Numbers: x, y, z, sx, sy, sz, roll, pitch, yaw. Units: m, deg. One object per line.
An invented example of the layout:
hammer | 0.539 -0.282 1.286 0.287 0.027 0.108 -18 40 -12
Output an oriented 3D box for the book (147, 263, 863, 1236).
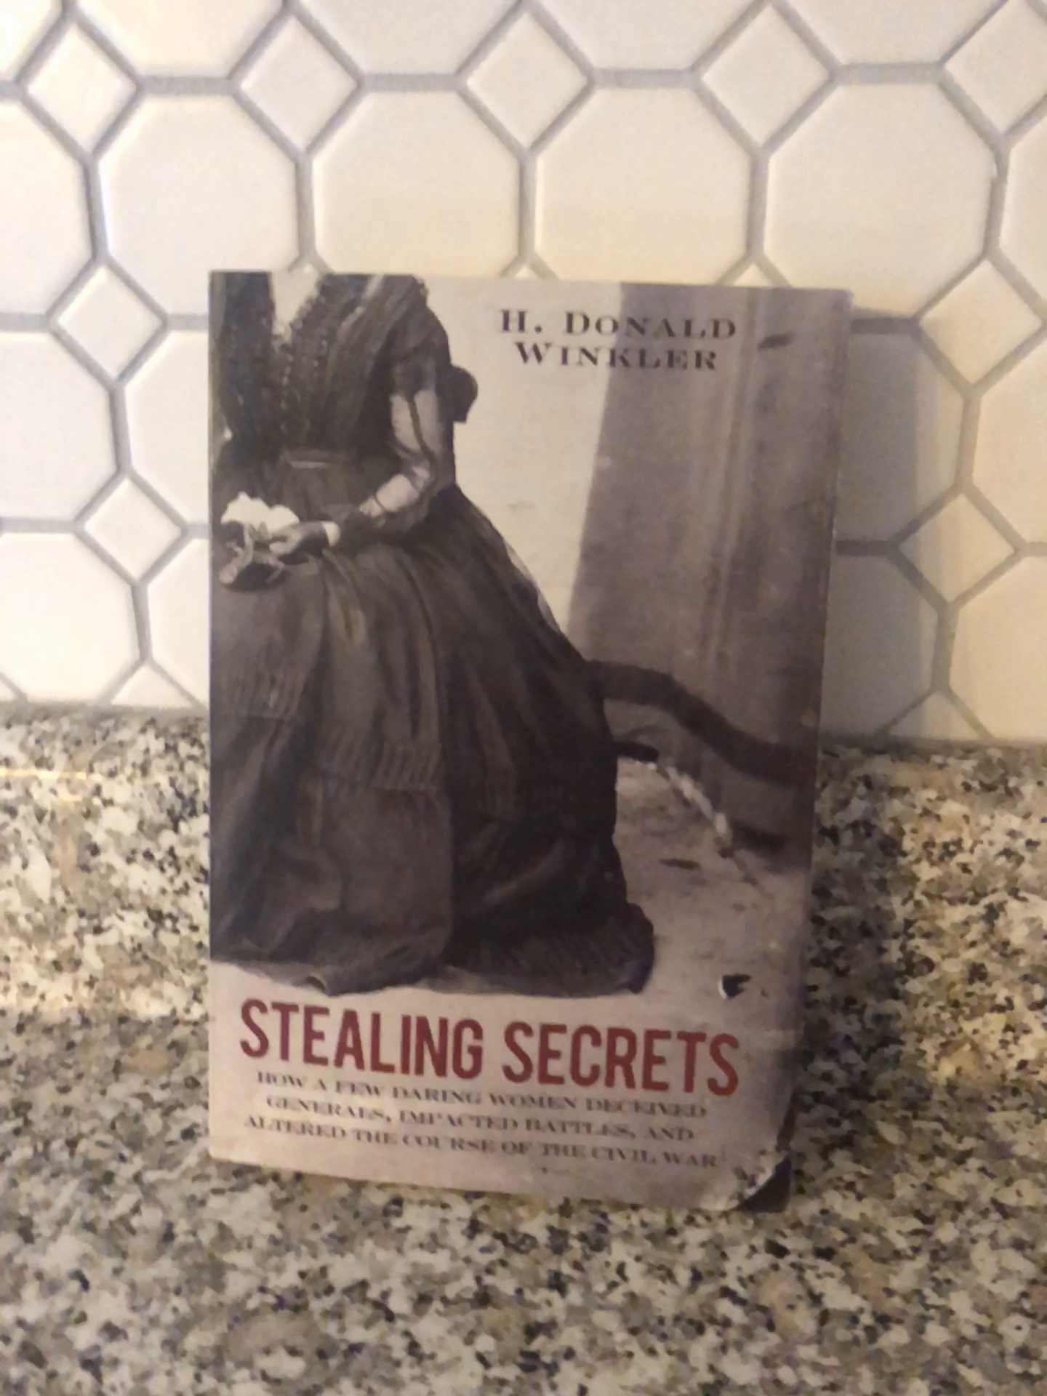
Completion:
book | -0.006 0.013 0.294 0.161 0.226 0.041 2 8 7
